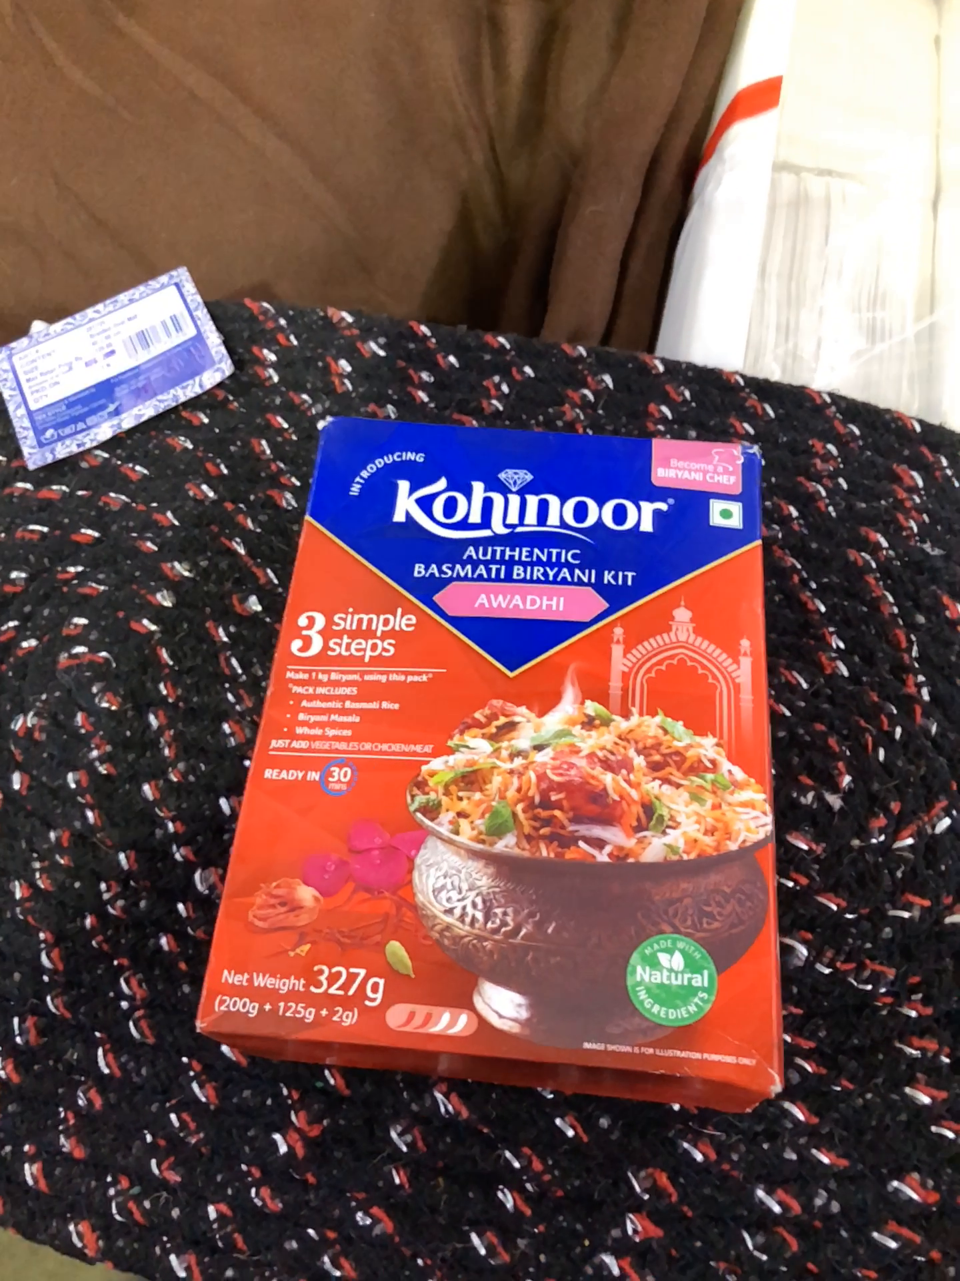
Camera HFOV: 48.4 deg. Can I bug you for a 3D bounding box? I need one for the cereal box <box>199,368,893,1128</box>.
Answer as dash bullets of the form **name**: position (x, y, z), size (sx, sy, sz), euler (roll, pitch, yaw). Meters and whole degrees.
- **cereal box**: position (0.022, 0.017, 0.272), size (0.140, 0.040, 0.181), euler (3, 64, 7)
